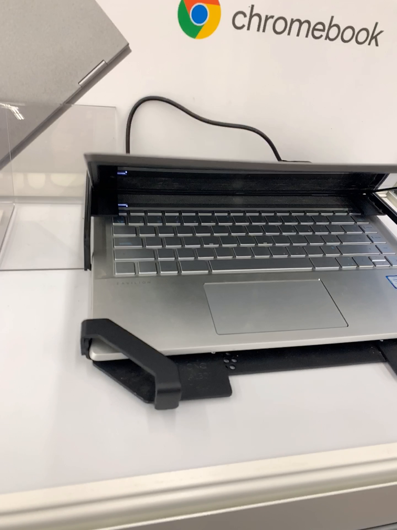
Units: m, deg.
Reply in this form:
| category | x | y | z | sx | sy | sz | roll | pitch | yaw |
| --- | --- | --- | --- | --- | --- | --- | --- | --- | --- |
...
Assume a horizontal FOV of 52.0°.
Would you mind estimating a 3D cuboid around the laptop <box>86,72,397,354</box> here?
| category | x | y | z | sx | sy | sz | roll | pitch | yaw |
| --- | --- | --- | --- | --- | --- | --- | --- | --- | --- |
| laptop | 0.060 | -0.054 | 0.320 | 0.283 | 0.111 | 0.194 | -2 | 40 | -11 |
